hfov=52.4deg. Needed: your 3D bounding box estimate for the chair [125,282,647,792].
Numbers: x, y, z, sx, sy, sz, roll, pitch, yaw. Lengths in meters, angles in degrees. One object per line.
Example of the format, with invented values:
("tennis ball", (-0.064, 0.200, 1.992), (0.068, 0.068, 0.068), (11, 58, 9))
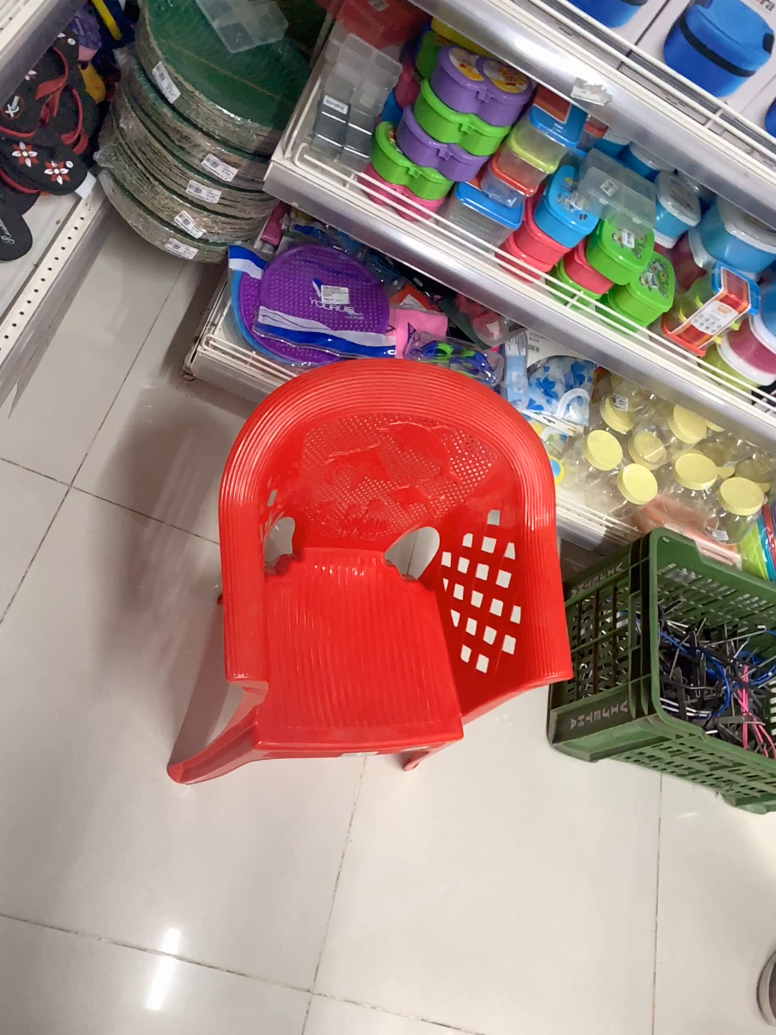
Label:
("chair", (-0.053, 0.081, 1.081), (0.501, 0.479, 0.490), (6, 63, -23))
